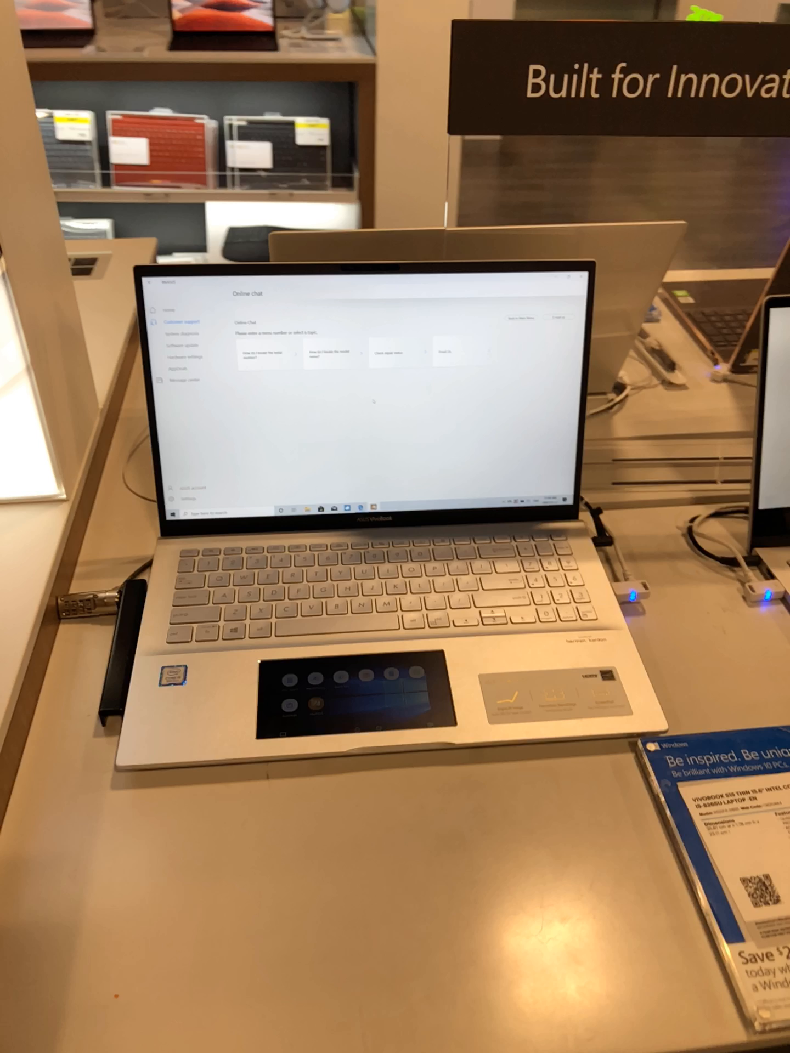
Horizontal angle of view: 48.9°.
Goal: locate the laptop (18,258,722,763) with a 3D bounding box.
[{"bbox_3d":[-0.020,-0.031,0.576,0.330,0.189,0.285,-2,37,-5],"label":"laptop"}]
